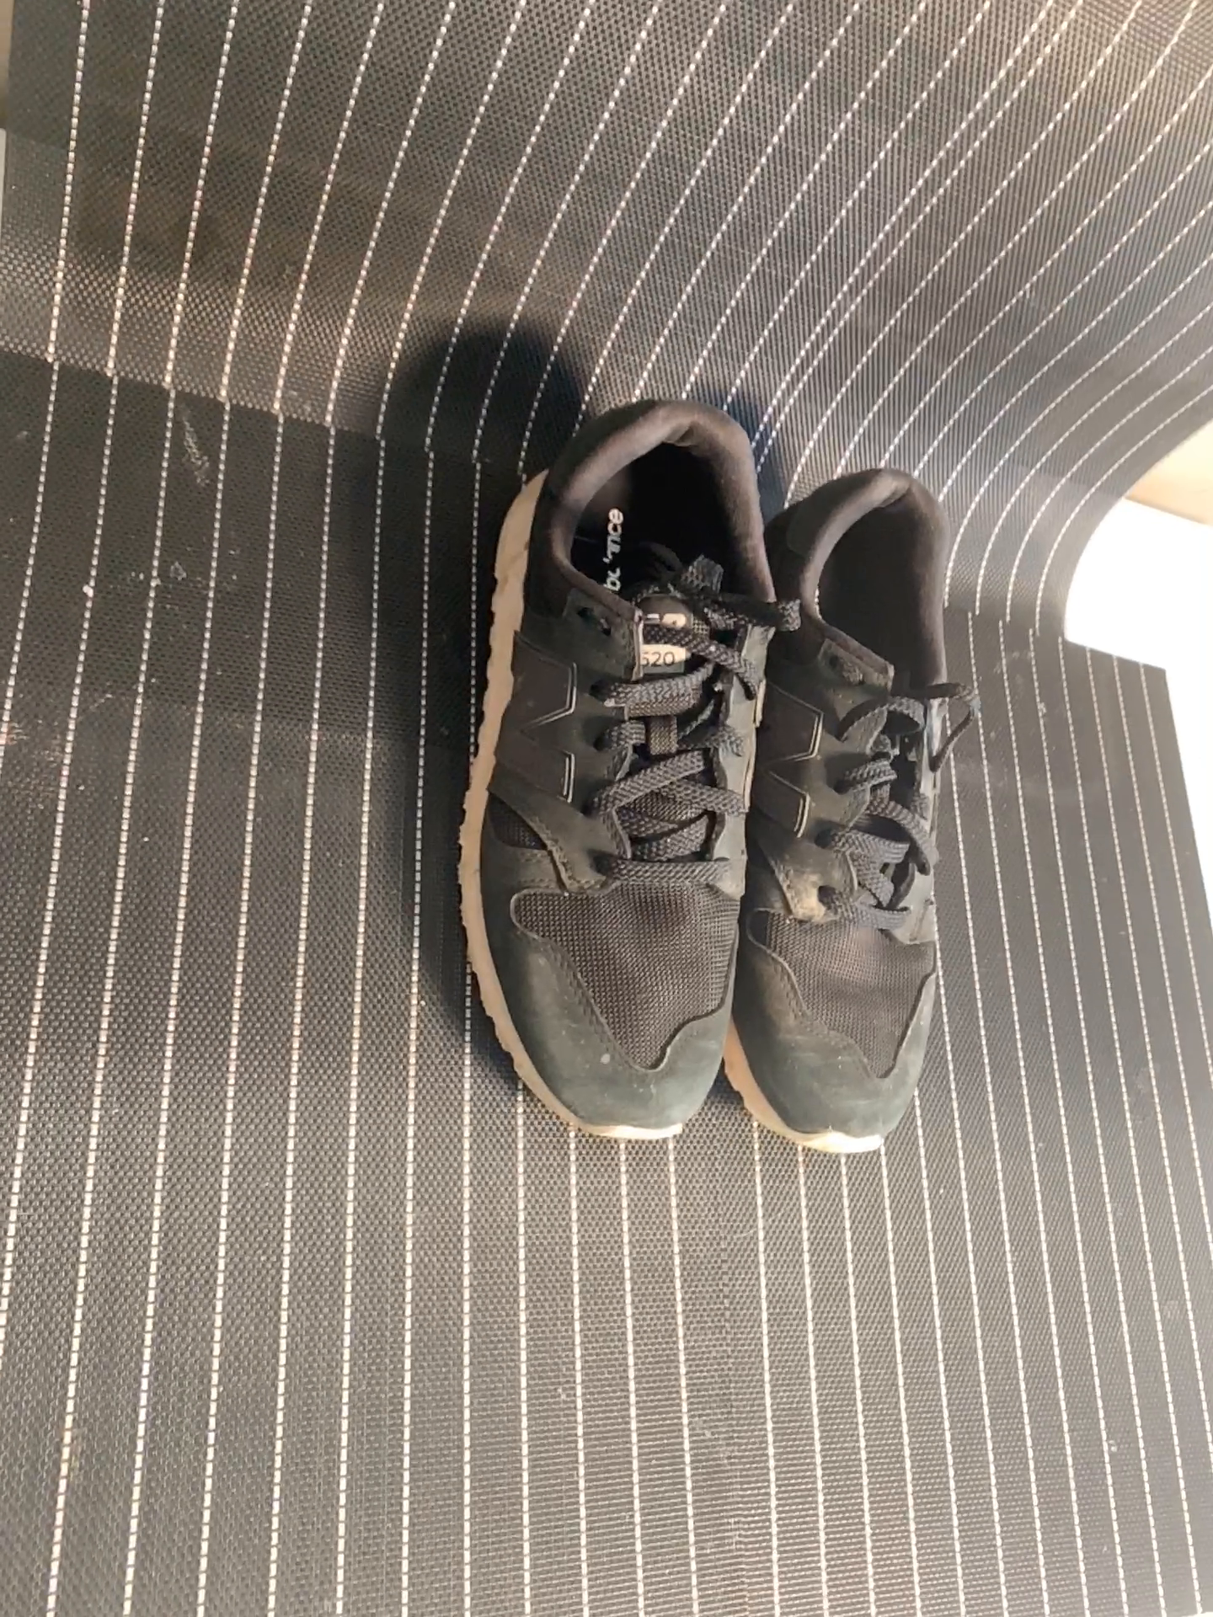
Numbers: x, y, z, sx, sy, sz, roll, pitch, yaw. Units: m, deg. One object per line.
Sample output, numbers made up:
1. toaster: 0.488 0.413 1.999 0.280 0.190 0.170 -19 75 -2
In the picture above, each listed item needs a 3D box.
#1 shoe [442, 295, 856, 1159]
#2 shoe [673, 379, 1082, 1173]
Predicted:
1. shoe: 0.008 -0.027 0.470 0.110 0.090 0.300 8 68 -25
2. shoe: 0.100 -0.011 0.513 0.110 0.090 0.300 10 68 -25
